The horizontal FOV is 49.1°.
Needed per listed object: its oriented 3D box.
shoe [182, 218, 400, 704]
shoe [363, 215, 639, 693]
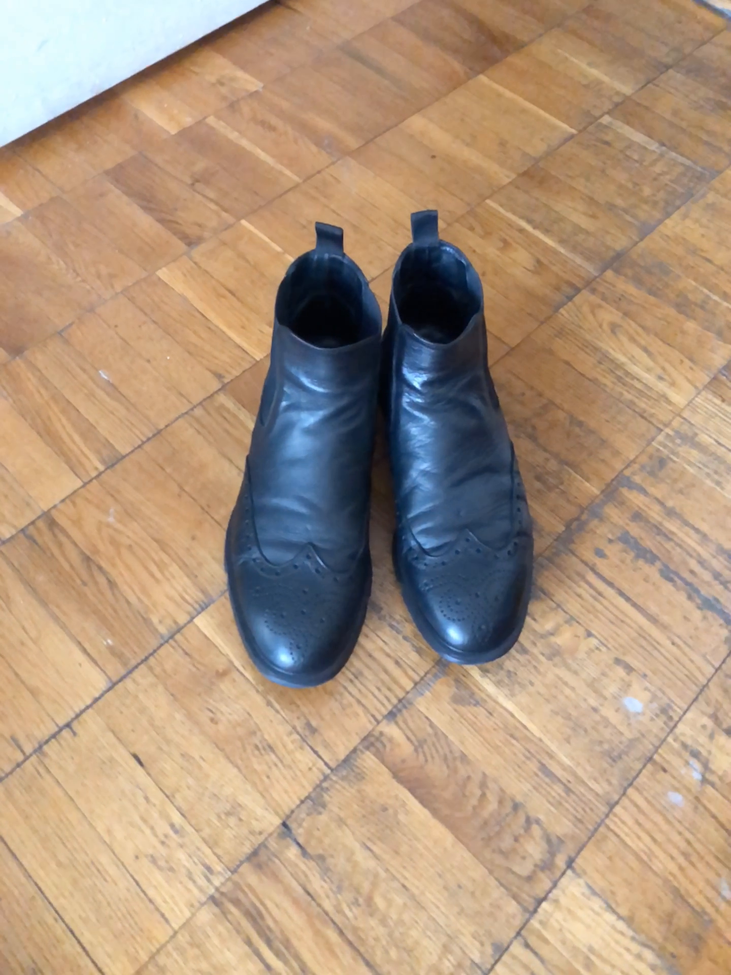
[{"bbox_3d":[-0.038,-0.024,0.550,0.110,0.139,0.301,3,59,-1],"label":"shoe"},{"bbox_3d":[0.073,-0.030,0.561,0.110,0.139,0.301,-4,59,-5],"label":"shoe"}]
